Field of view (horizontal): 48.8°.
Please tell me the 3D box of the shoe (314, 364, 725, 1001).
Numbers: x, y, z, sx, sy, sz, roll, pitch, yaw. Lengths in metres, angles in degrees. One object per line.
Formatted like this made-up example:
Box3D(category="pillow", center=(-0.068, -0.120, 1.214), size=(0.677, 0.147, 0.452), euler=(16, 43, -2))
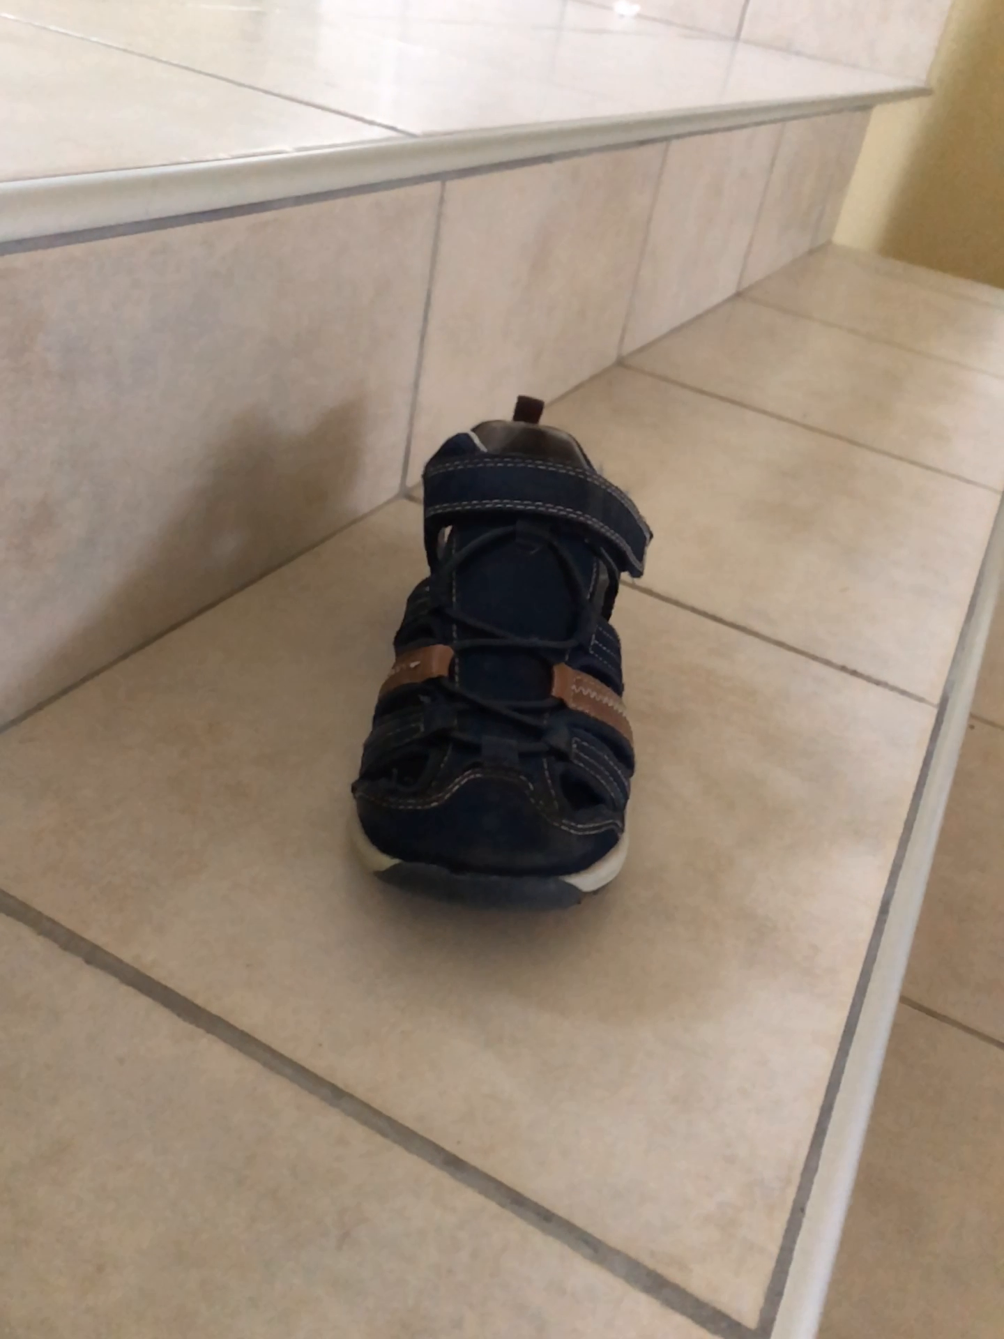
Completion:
Box3D(category="shoe", center=(-0.001, -0.013, 0.380), size=(0.090, 0.099, 0.221), euler=(8, 33, -6))
